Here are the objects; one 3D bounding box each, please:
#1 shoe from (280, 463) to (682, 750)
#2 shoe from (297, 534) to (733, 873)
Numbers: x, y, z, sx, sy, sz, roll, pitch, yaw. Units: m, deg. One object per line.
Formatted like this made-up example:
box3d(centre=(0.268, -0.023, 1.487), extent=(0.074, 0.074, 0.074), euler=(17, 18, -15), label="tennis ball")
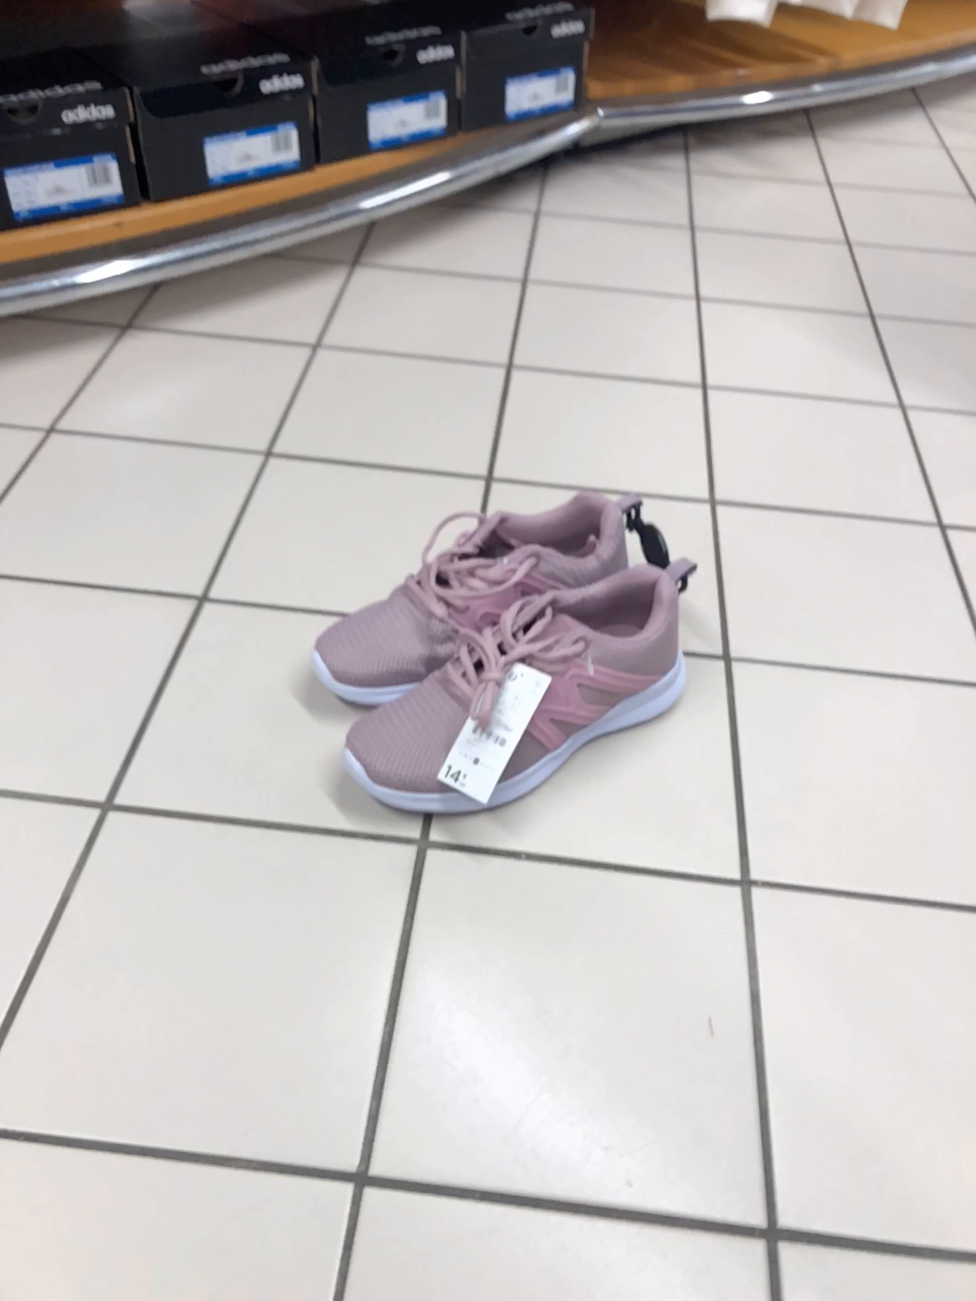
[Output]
box3d(centre=(-0.003, -0.038, 0.767), extent=(0.261, 0.092, 0.100), euler=(-19, 48, -23), label="shoe")
box3d(centre=(0.019, 0.027, 0.709), extent=(0.261, 0.099, 0.103), euler=(-21, 49, -24), label="shoe")
